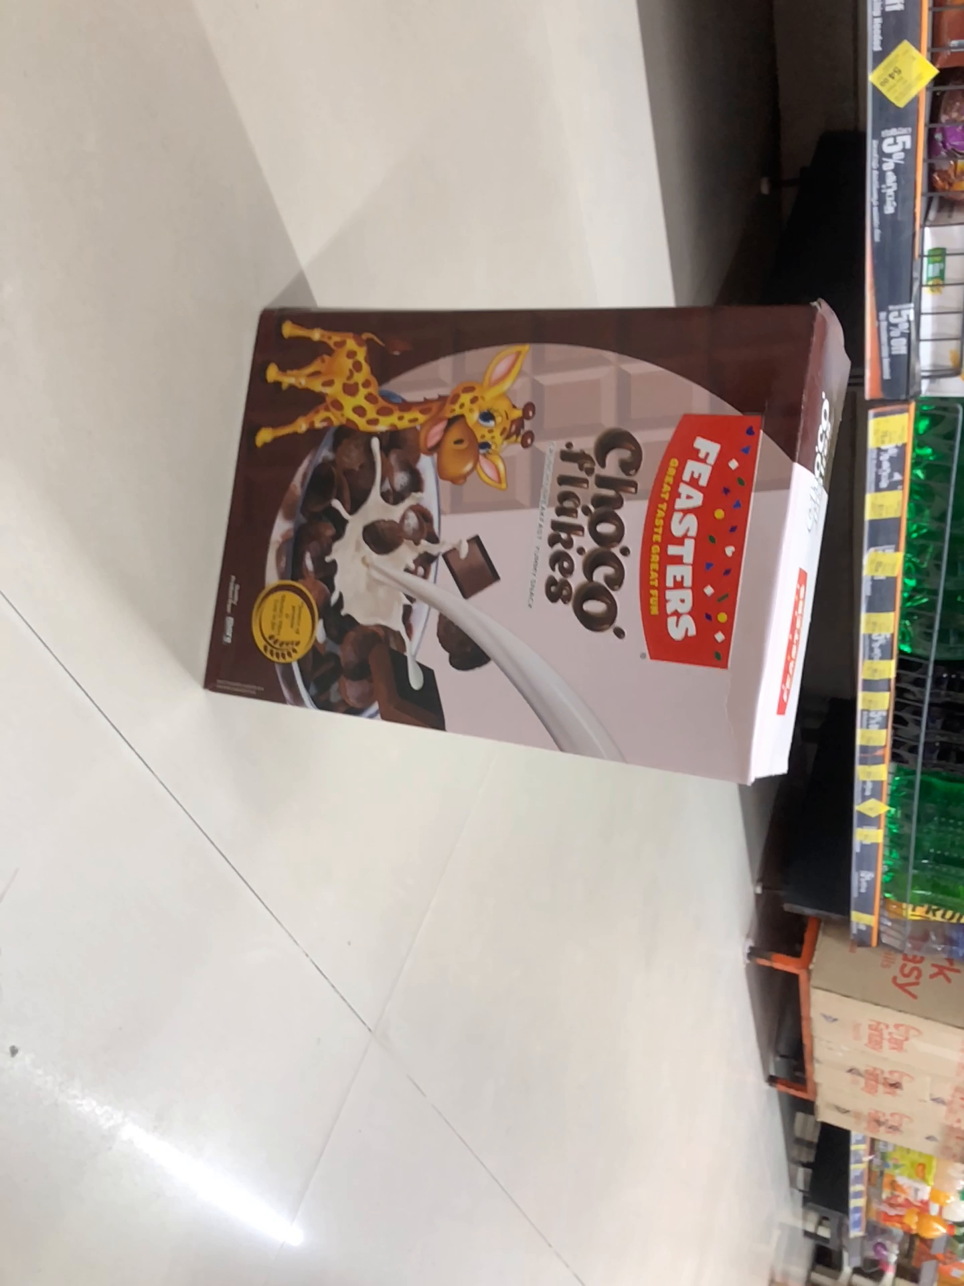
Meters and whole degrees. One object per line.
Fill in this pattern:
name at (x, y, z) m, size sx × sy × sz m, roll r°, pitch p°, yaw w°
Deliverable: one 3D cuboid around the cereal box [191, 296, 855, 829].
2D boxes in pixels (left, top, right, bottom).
cereal box at (0.009, -0.044, 0.471) m, size 0.050 × 0.268 × 0.200 m, roll 12°, pitch 86°, yaw -66°
